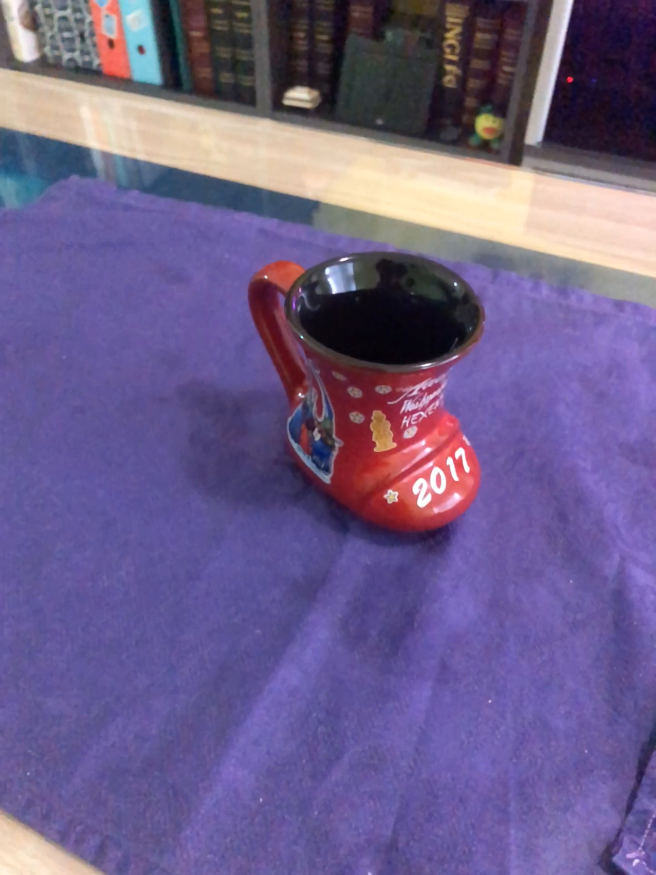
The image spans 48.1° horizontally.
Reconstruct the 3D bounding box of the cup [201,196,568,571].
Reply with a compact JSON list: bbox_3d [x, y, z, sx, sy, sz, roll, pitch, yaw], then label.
[{"bbox_3d":[0.018,-0.026,0.306,0.120,0.090,0.070,34,54,29],"label":"cup"}]
